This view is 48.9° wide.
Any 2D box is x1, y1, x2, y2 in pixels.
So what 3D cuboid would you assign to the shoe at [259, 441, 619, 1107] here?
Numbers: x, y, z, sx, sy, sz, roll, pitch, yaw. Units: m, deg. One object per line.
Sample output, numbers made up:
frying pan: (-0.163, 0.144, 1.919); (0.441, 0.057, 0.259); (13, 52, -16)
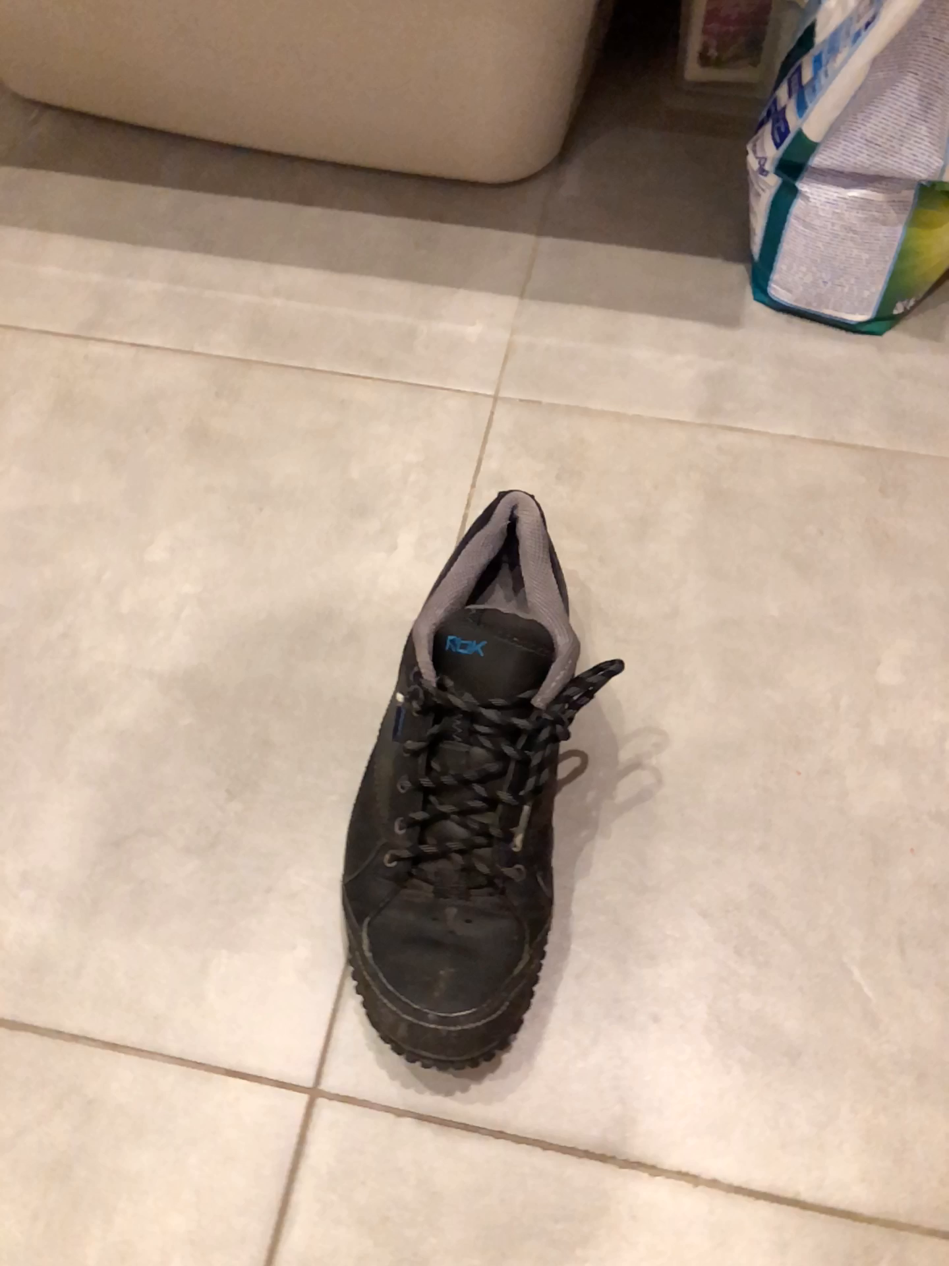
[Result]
shoe: (-0.002, 0.057, 0.480); (0.100, 0.109, 0.271); (8, 60, 6)
